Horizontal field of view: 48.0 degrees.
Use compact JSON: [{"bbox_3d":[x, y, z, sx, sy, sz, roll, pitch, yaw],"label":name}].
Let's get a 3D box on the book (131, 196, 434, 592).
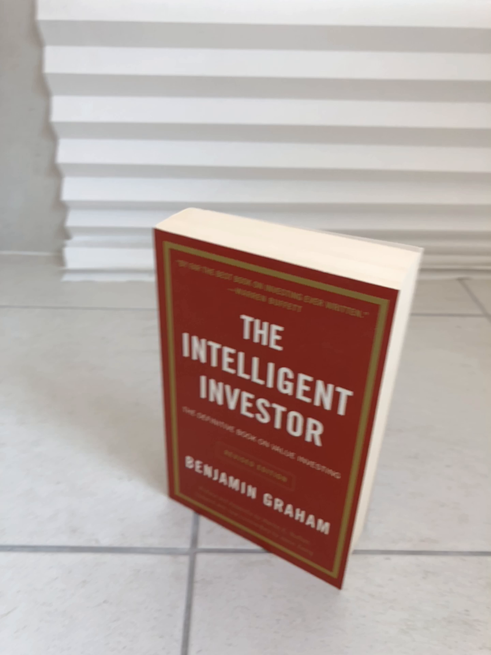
[{"bbox_3d":[0.014,0.040,0.340,0.149,0.206,0.057,18,34,26],"label":"book"}]
